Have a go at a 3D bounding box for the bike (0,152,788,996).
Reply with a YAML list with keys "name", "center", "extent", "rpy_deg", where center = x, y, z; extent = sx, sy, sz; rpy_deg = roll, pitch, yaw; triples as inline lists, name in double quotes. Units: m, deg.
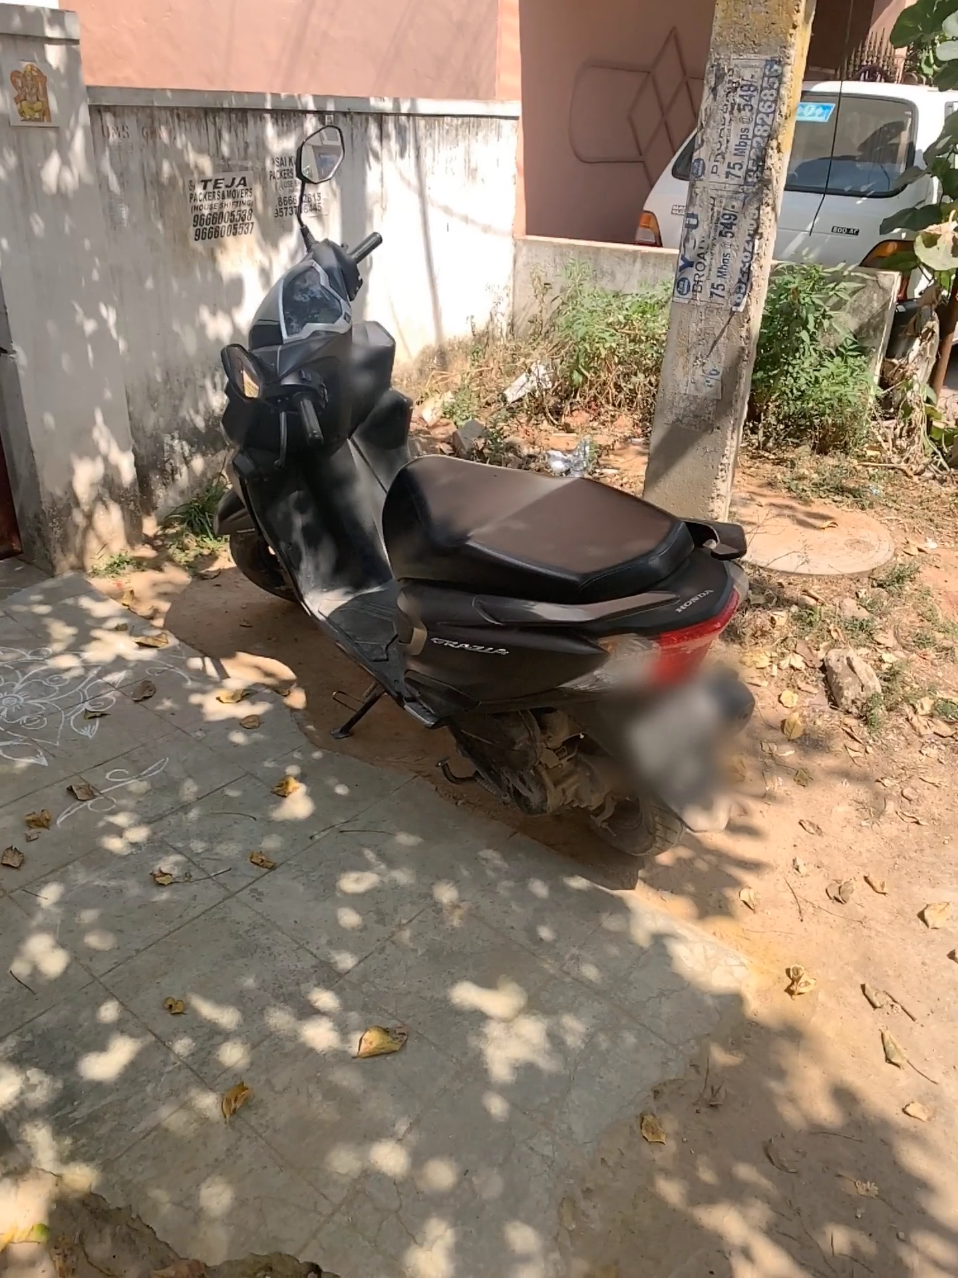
- name: "bike"
  center: [-0.303, -0.272, 2.094]
  extent: [1.511, 1.177, 0.608]
  rpy_deg: [28, 36, 35]
